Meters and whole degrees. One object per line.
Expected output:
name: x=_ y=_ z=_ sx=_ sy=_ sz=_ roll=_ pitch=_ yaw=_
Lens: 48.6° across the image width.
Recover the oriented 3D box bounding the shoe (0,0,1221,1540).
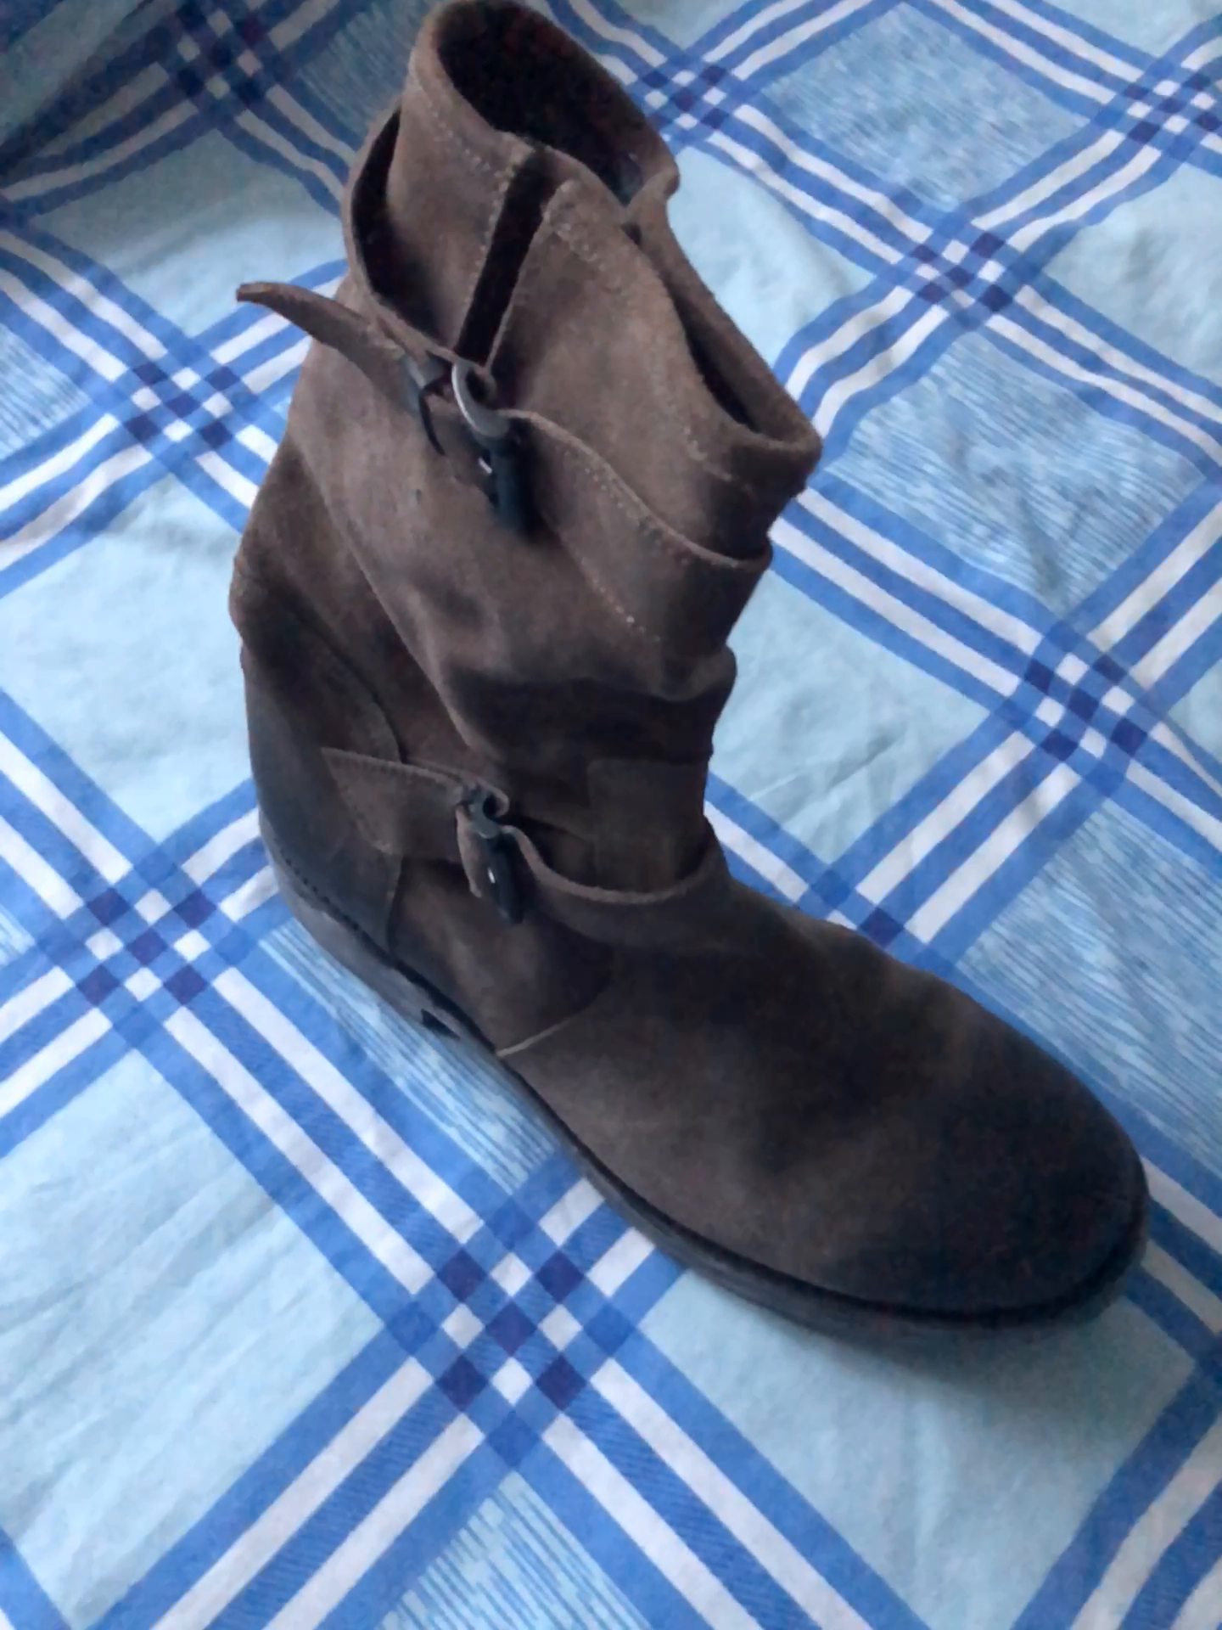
shoe: x=0.032 y=0.010 z=0.346 sx=0.320 sy=0.289 sz=0.130 roll=33 pitch=63 yaw=16
